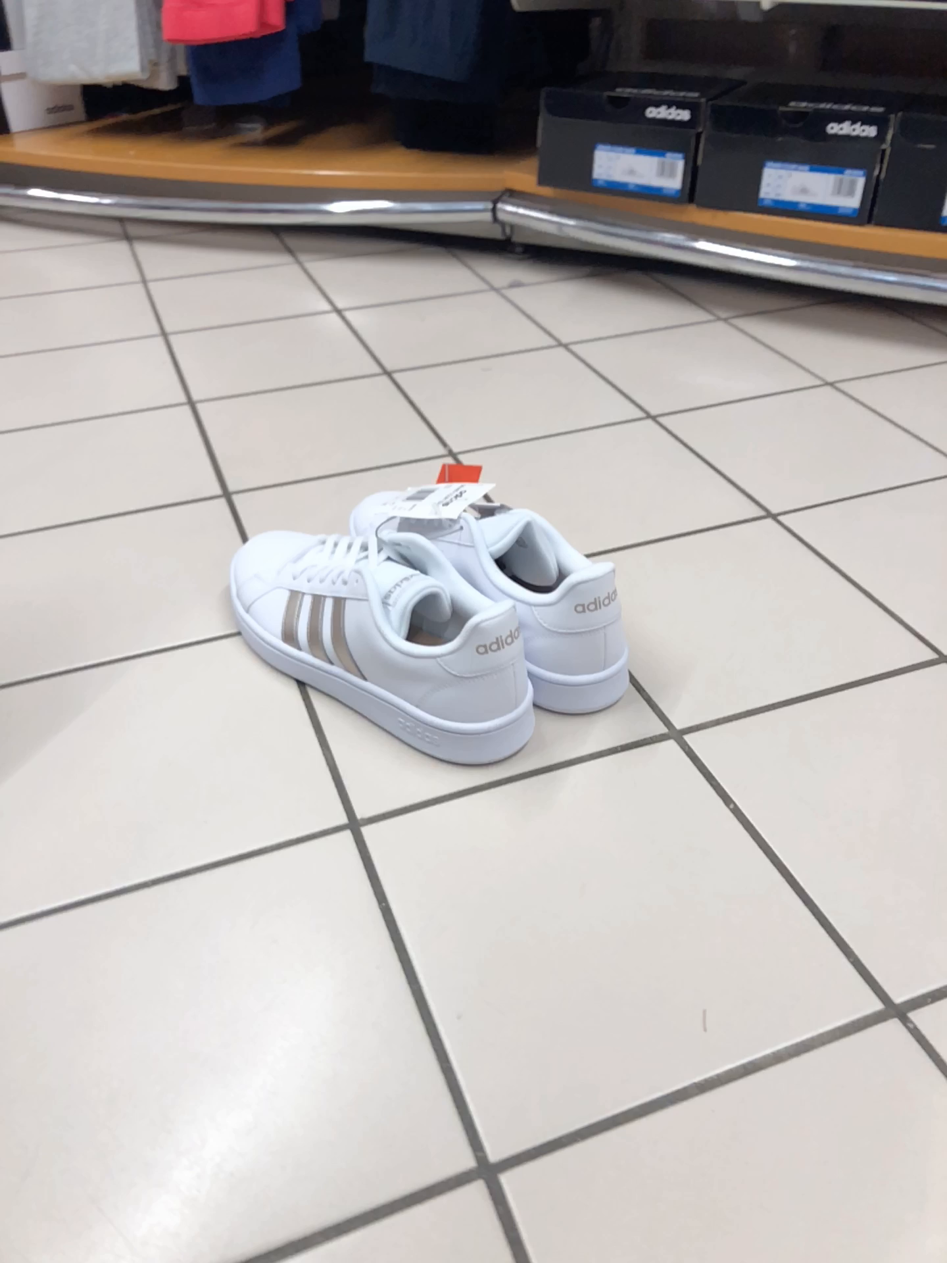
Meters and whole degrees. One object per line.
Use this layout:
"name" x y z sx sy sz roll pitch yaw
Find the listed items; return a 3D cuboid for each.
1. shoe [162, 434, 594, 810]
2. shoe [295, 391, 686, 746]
"shoe" -0.068 -0.020 0.657 0.280 0.099 0.101 30 46 35
"shoe" -0.001 -0.057 0.699 0.100 0.099 0.281 -24 42 -29
